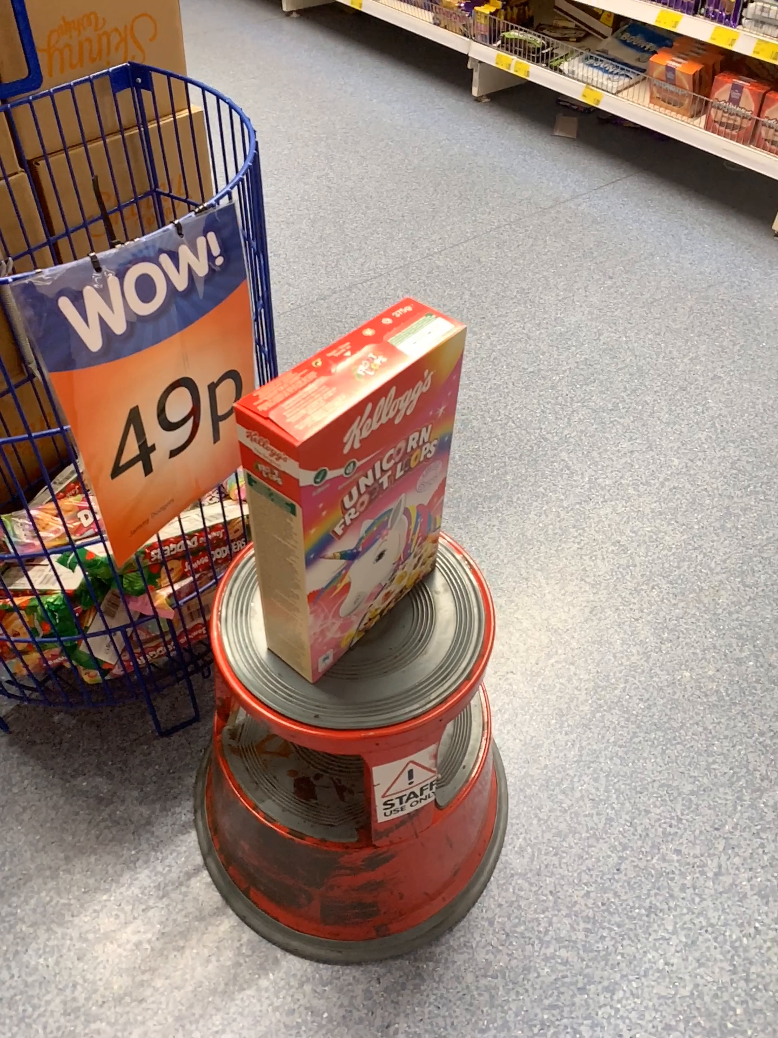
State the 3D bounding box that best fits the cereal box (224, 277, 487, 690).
[{"bbox_3d":[-0.021,-0.022,0.671,0.070,0.287,0.211,31,52,24],"label":"cereal box"}]
